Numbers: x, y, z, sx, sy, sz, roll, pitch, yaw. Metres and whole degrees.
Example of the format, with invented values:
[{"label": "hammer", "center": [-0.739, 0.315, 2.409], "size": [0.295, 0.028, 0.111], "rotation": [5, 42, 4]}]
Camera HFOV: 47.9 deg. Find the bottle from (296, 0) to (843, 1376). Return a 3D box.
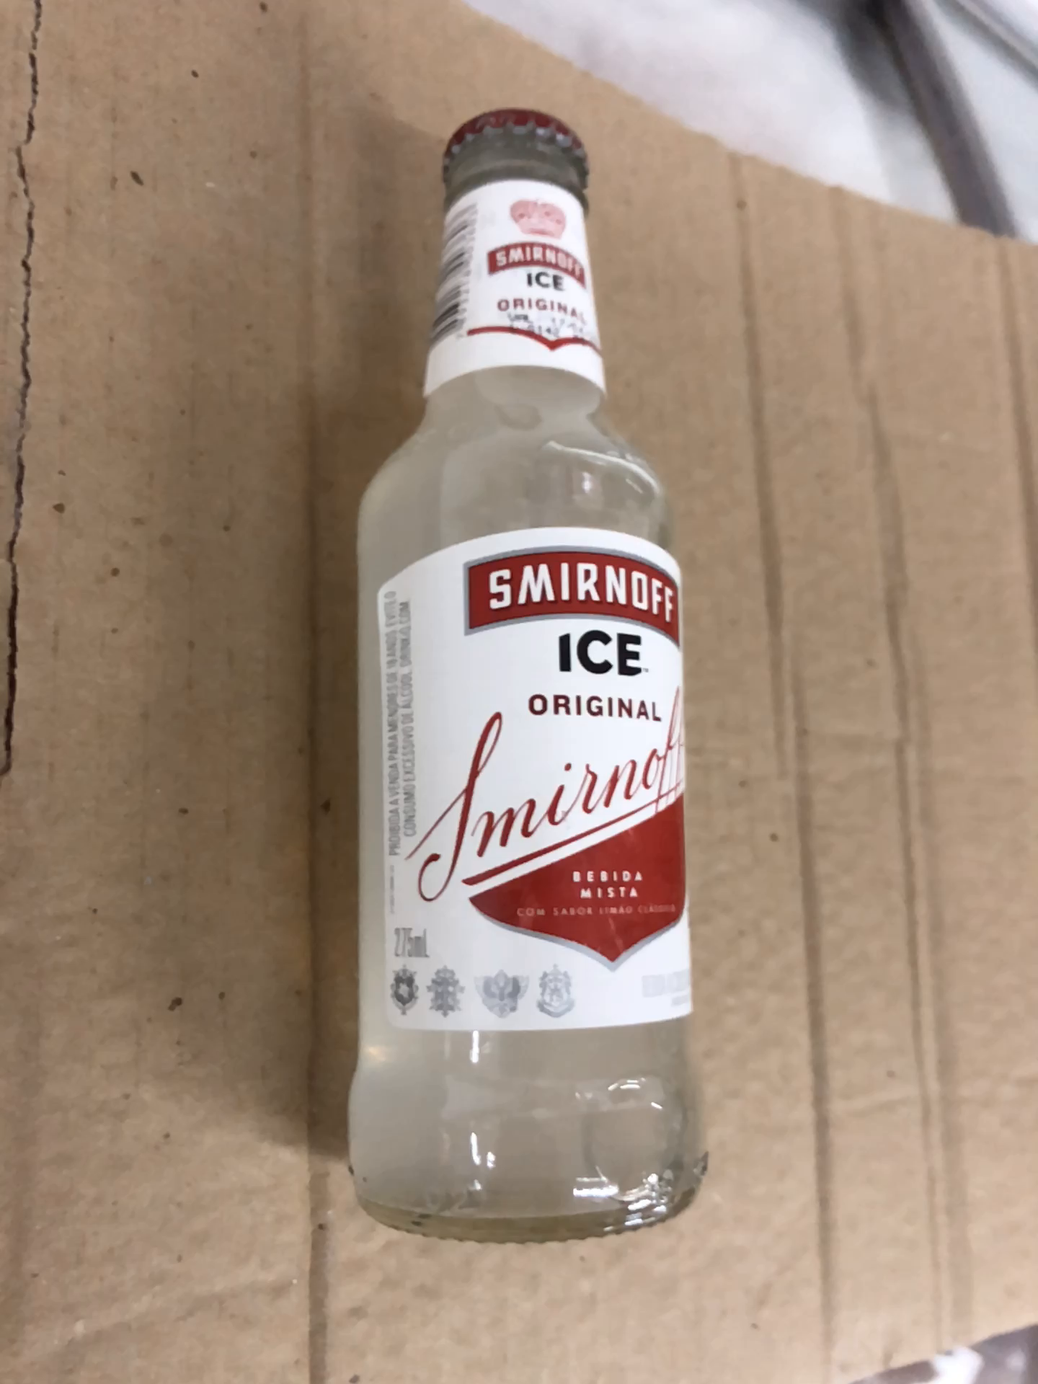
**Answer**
[{"label": "bottle", "center": [0.007, -0.014, 0.200], "size": [0.070, 0.050, 0.210], "rotation": [7, 78, -39]}]
